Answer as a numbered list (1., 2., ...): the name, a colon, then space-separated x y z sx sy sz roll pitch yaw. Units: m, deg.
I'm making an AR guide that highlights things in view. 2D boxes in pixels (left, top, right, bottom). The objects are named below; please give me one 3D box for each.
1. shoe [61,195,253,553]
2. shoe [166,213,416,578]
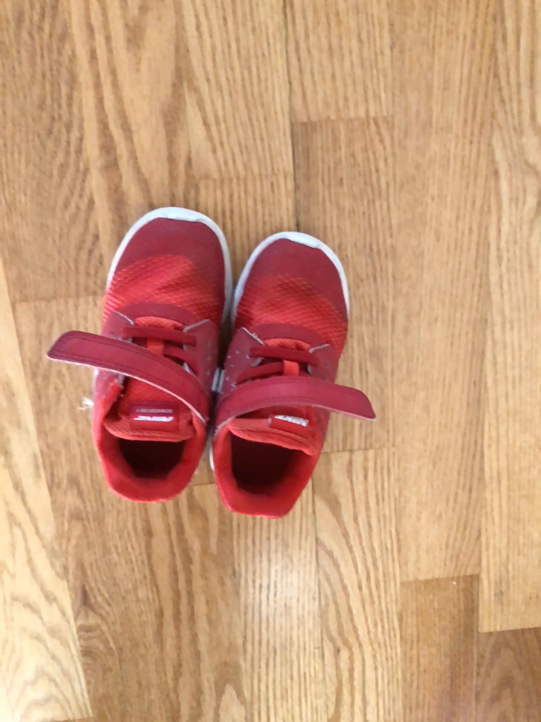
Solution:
1. shoe: -0.061 0.005 0.326 0.080 0.069 0.175 6 105 -6
2. shoe: 0.004 0.018 0.333 0.088 0.069 0.177 11 105 -7
